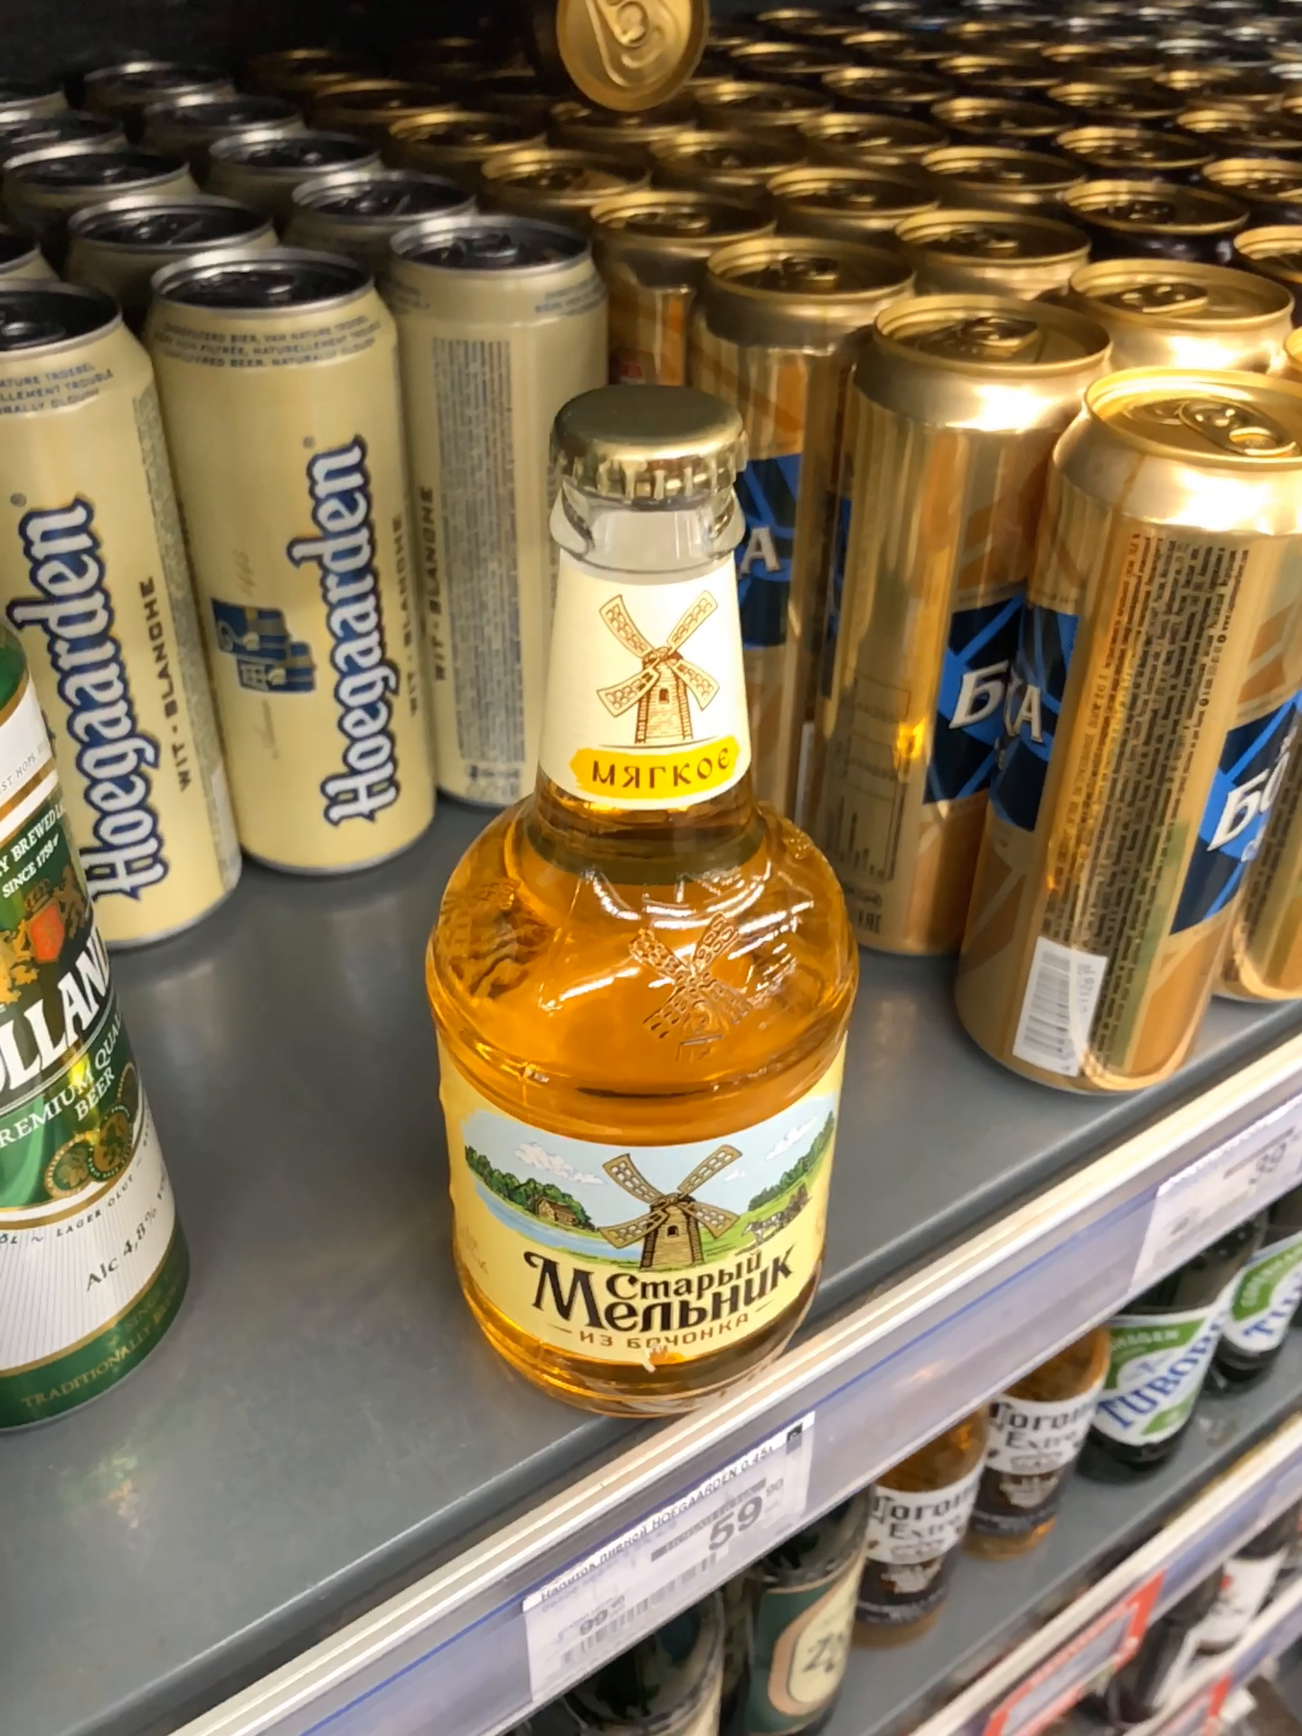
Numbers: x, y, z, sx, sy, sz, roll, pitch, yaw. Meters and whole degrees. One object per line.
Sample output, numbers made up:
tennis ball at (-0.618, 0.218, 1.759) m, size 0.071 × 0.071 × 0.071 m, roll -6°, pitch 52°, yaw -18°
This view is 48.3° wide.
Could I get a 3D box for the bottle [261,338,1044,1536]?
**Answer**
bottle at (-0.008, 0.020, 0.254) m, size 0.090 × 0.192 × 0.080 m, roll -7°, pitch 38°, yaw -11°
